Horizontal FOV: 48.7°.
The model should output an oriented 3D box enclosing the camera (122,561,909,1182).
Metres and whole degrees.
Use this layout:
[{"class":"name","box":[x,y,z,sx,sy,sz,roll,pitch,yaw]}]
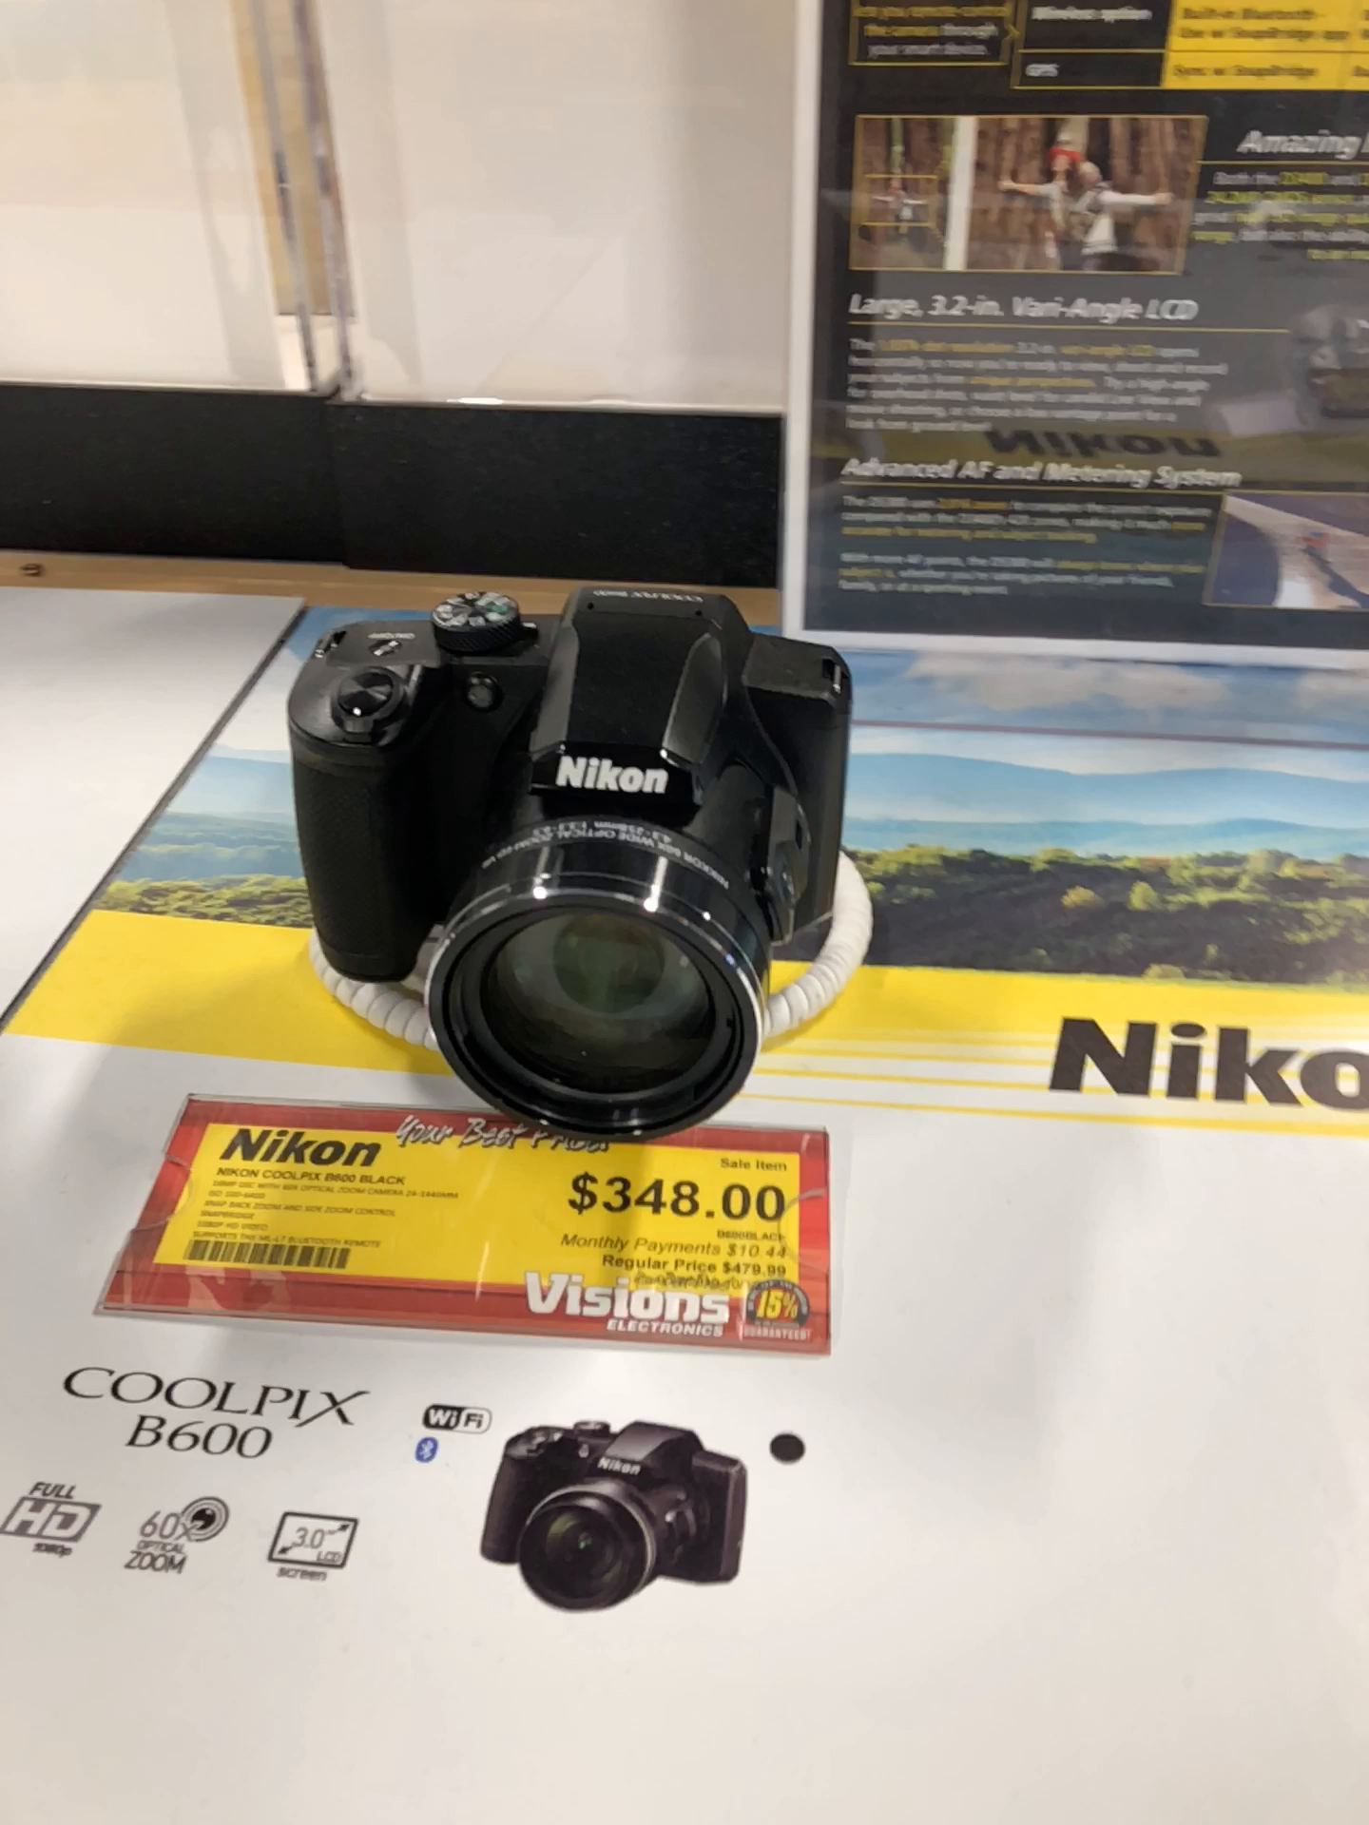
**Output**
[{"class":"camera","box":[-0.022,-0.015,0.310,0.130,0.070,0.111,4,36,6]}]
